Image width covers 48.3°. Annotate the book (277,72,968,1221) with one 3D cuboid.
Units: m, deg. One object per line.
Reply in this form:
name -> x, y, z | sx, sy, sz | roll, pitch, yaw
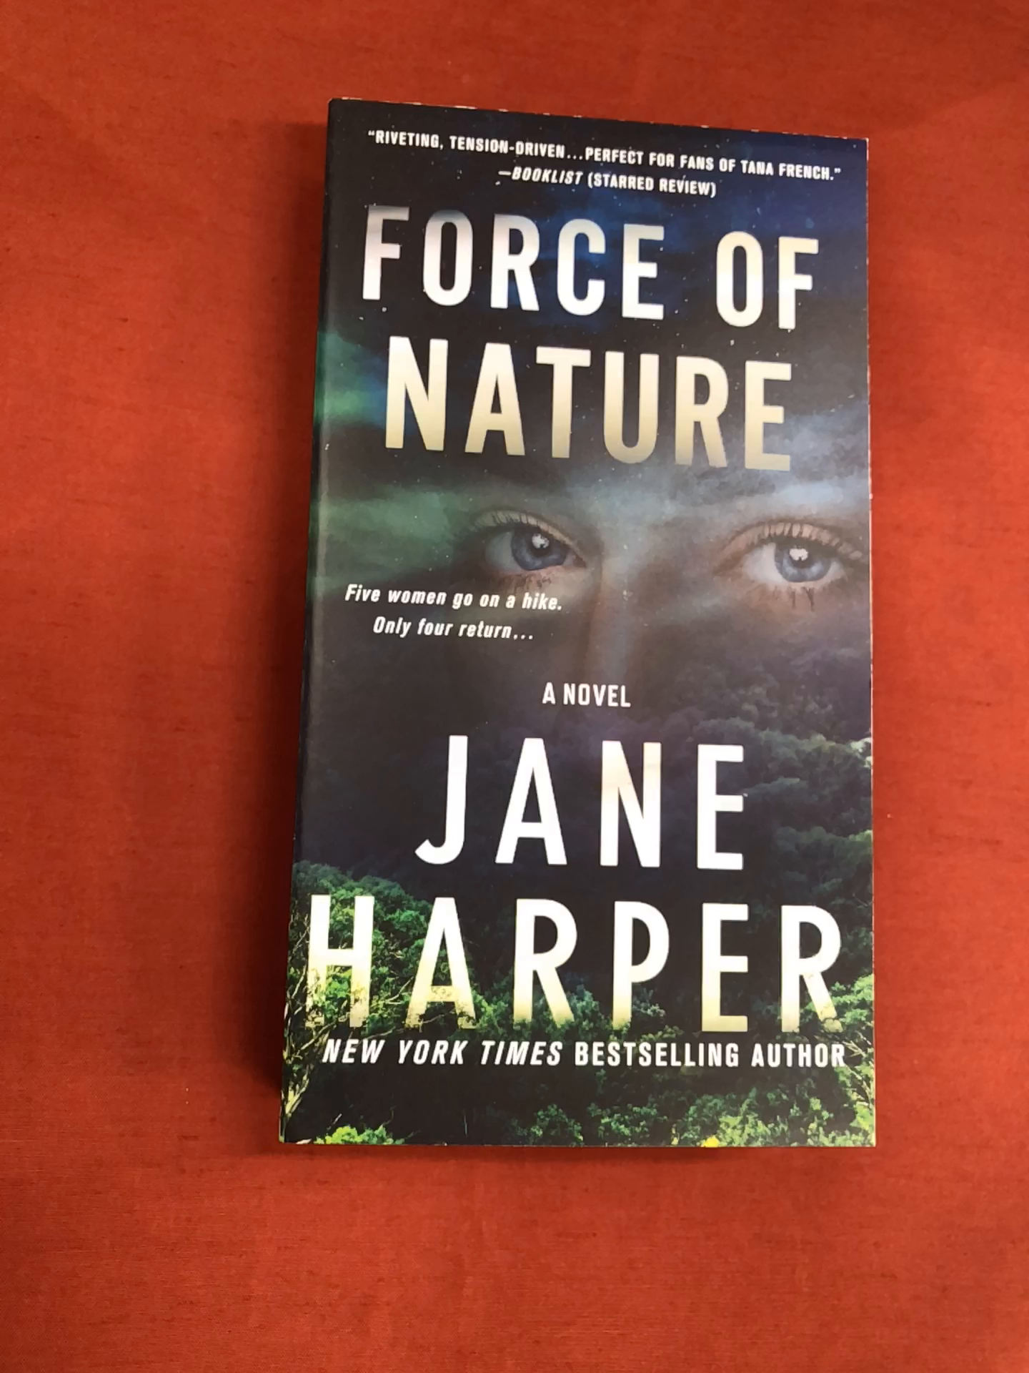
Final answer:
book -> 0.017, -0.006, 0.210 | 0.110, 0.050, 0.180 | 1, 90, -5
